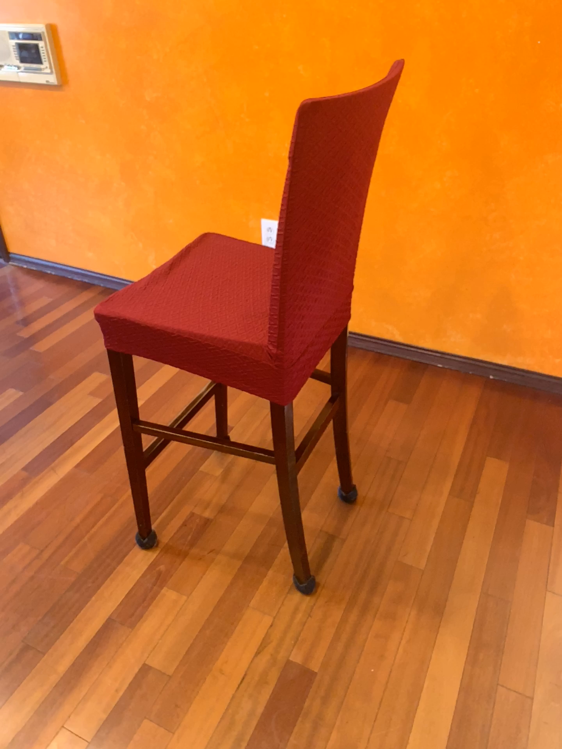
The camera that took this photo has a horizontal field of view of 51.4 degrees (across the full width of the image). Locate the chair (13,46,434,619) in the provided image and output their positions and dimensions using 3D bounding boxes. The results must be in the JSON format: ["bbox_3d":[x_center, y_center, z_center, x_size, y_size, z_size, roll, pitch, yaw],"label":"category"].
[{"bbox_3d":[-0.064,-0.077,1.231,0.512,1.027,0.465,15,37,21],"label":"chair"}]
